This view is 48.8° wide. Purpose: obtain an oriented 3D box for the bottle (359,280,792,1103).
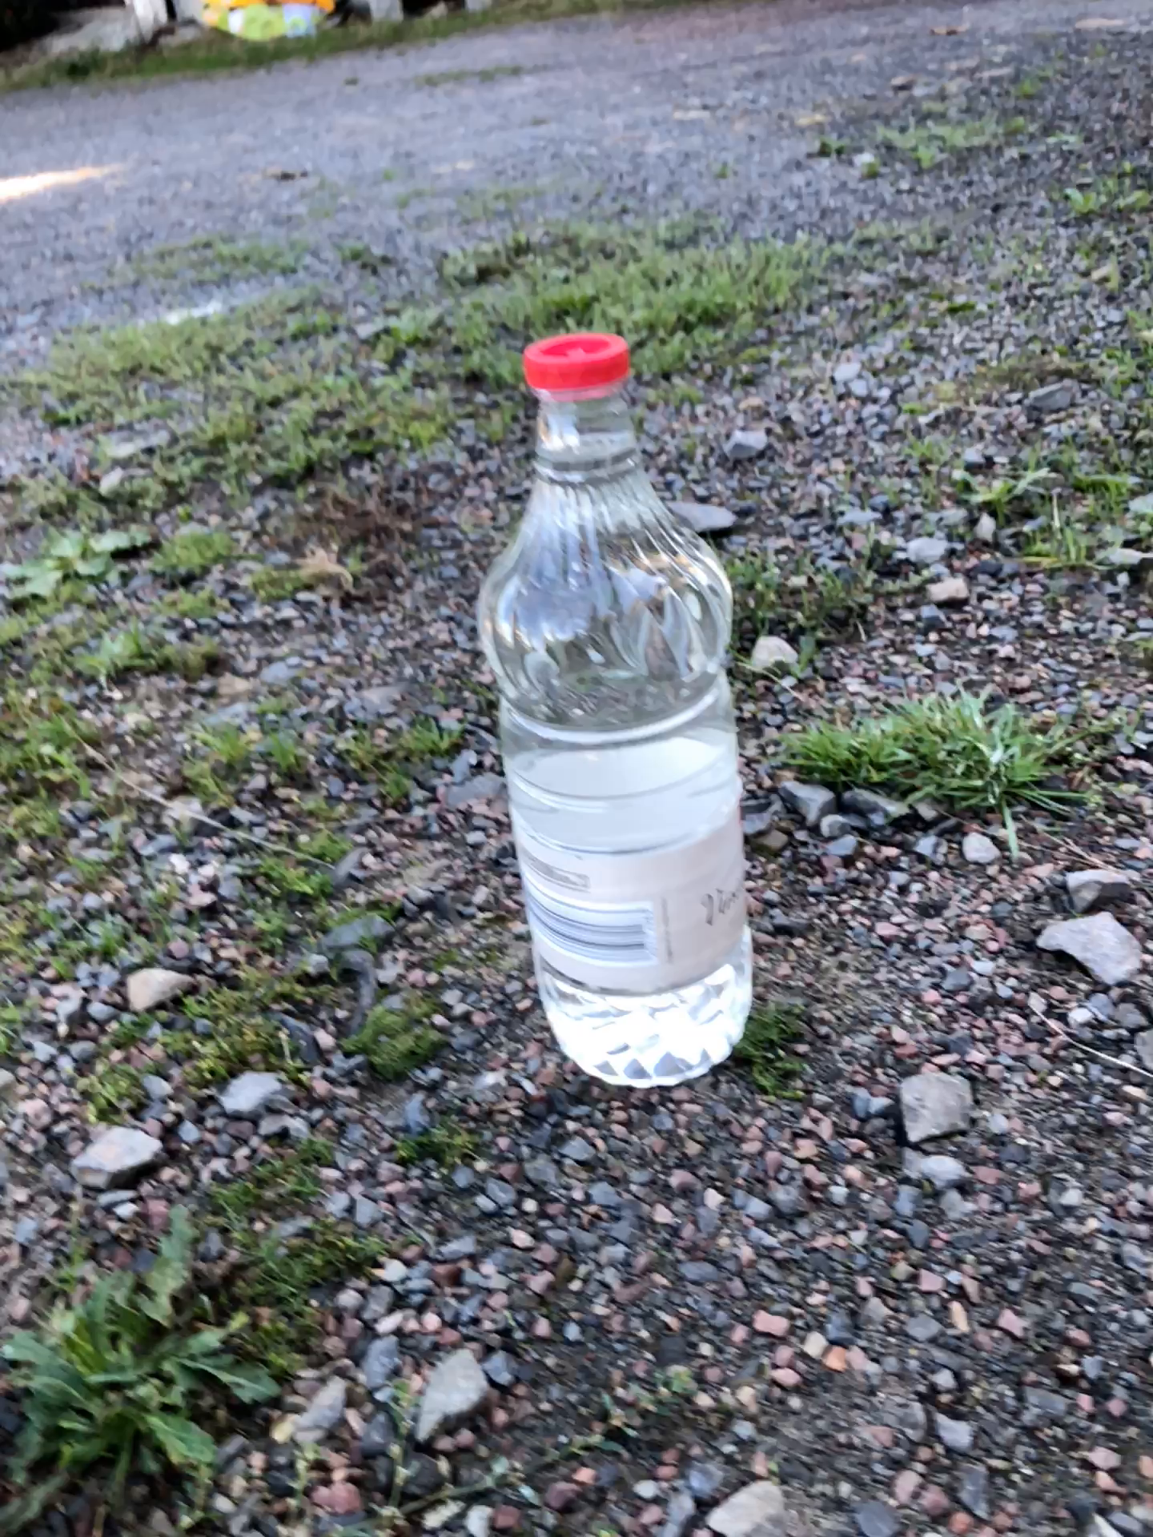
[{"bbox_3d":[0.011,-0.019,0.428,0.100,0.249,0.101,-6,30,4],"label":"bottle"}]
